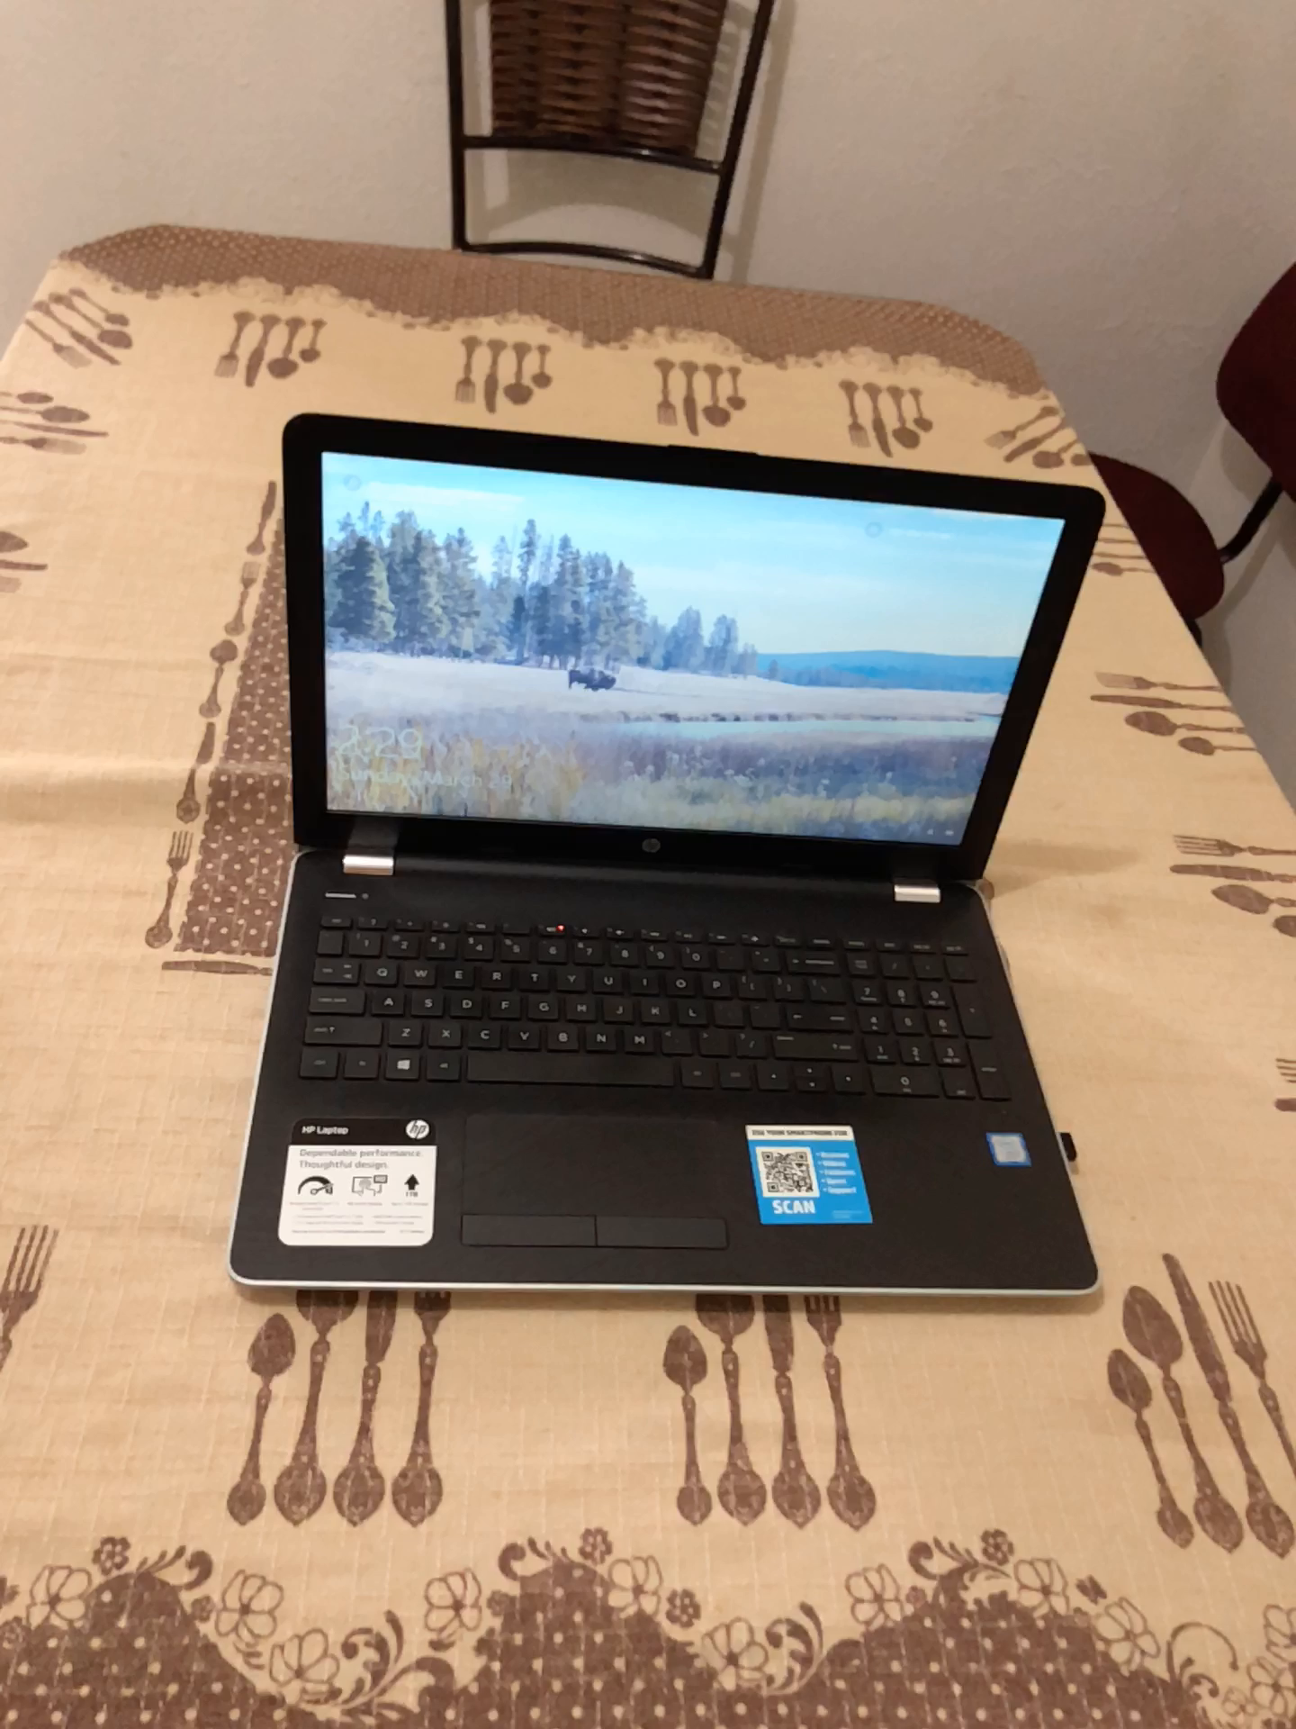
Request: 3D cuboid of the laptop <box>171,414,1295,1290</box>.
[{"bbox_3d":[0.019,-0.004,0.599,0.360,0.225,0.269,3,43,-8],"label":"laptop"}]
